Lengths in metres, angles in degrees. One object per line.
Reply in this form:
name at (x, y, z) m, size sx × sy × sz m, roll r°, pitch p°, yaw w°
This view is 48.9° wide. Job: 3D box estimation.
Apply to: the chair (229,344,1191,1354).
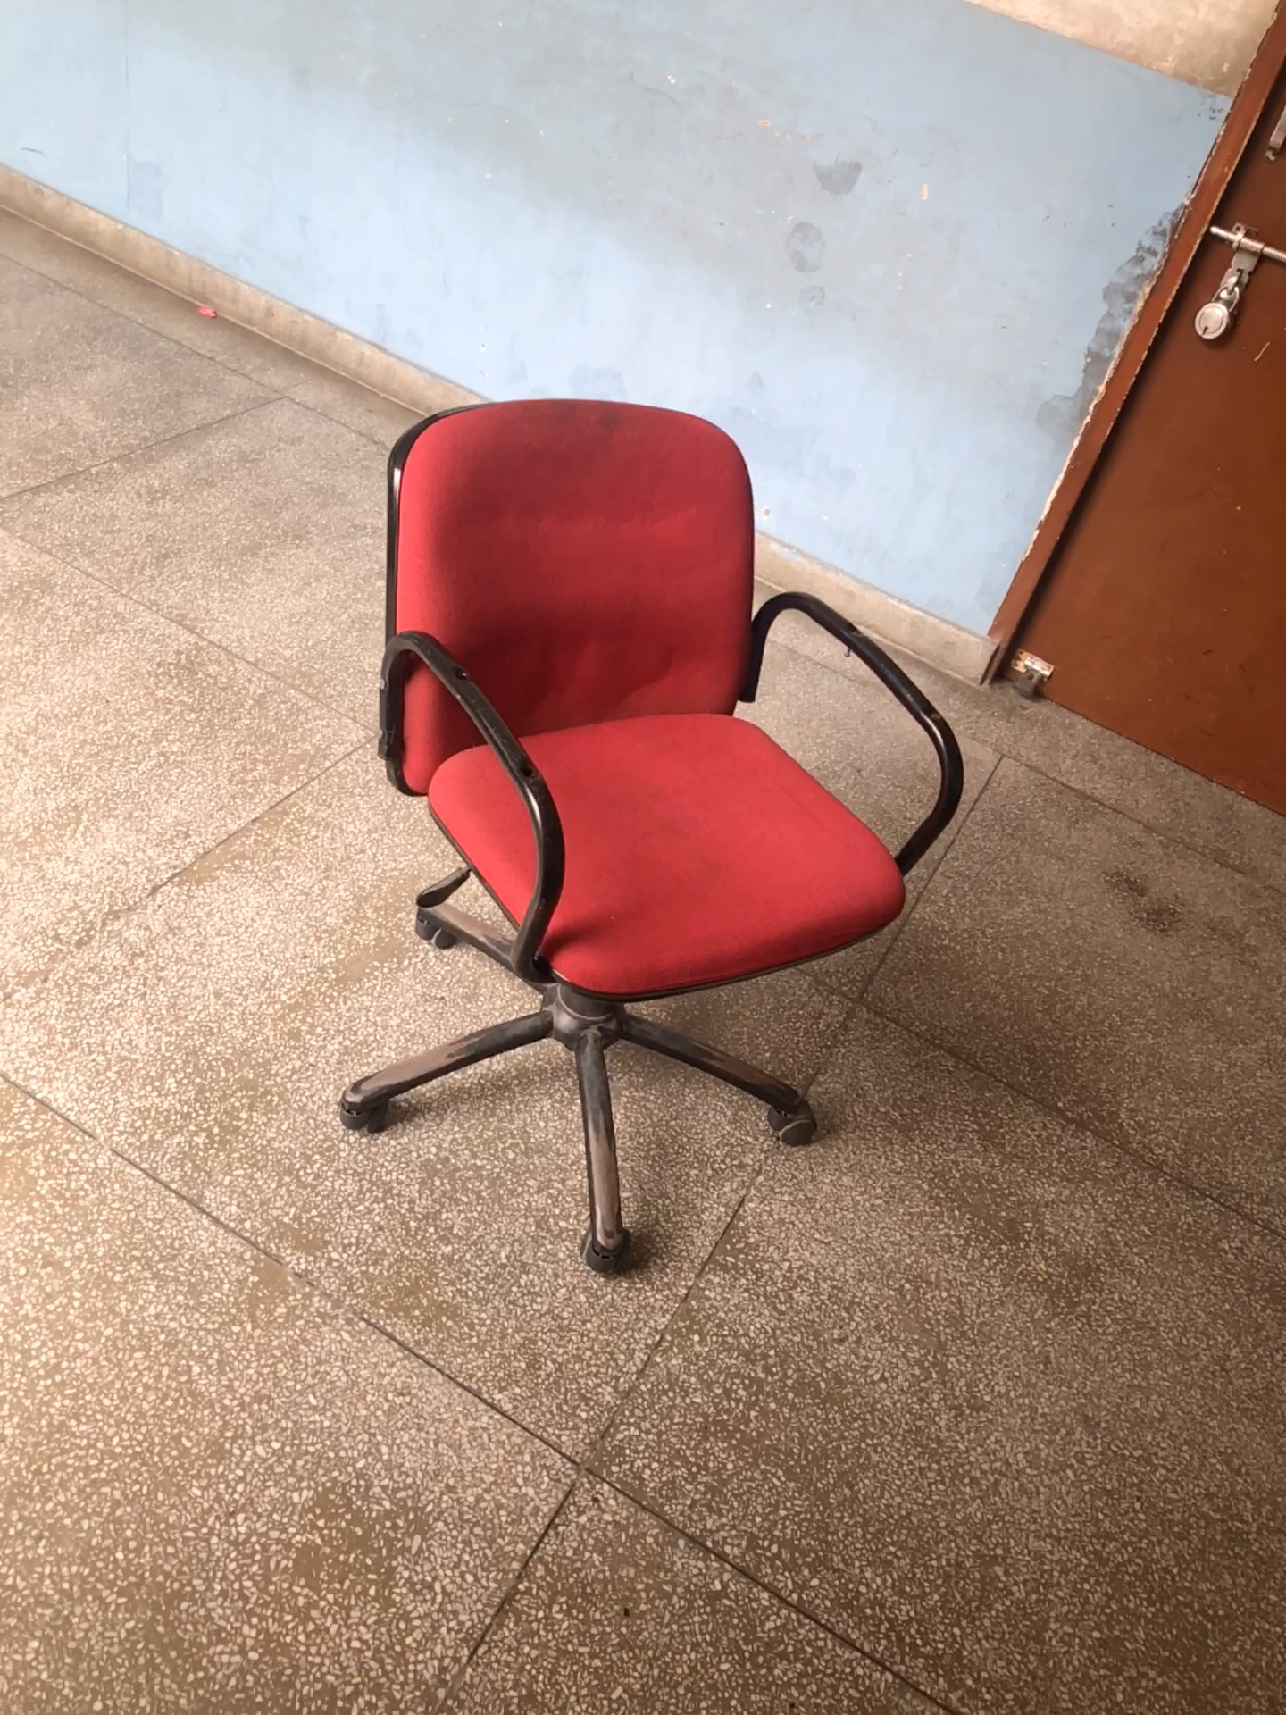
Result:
chair at (-0.006, -0.050, 1.594) m, size 0.652 × 0.797 × 0.641 m, roll -15°, pitch 48°, yaw -34°
